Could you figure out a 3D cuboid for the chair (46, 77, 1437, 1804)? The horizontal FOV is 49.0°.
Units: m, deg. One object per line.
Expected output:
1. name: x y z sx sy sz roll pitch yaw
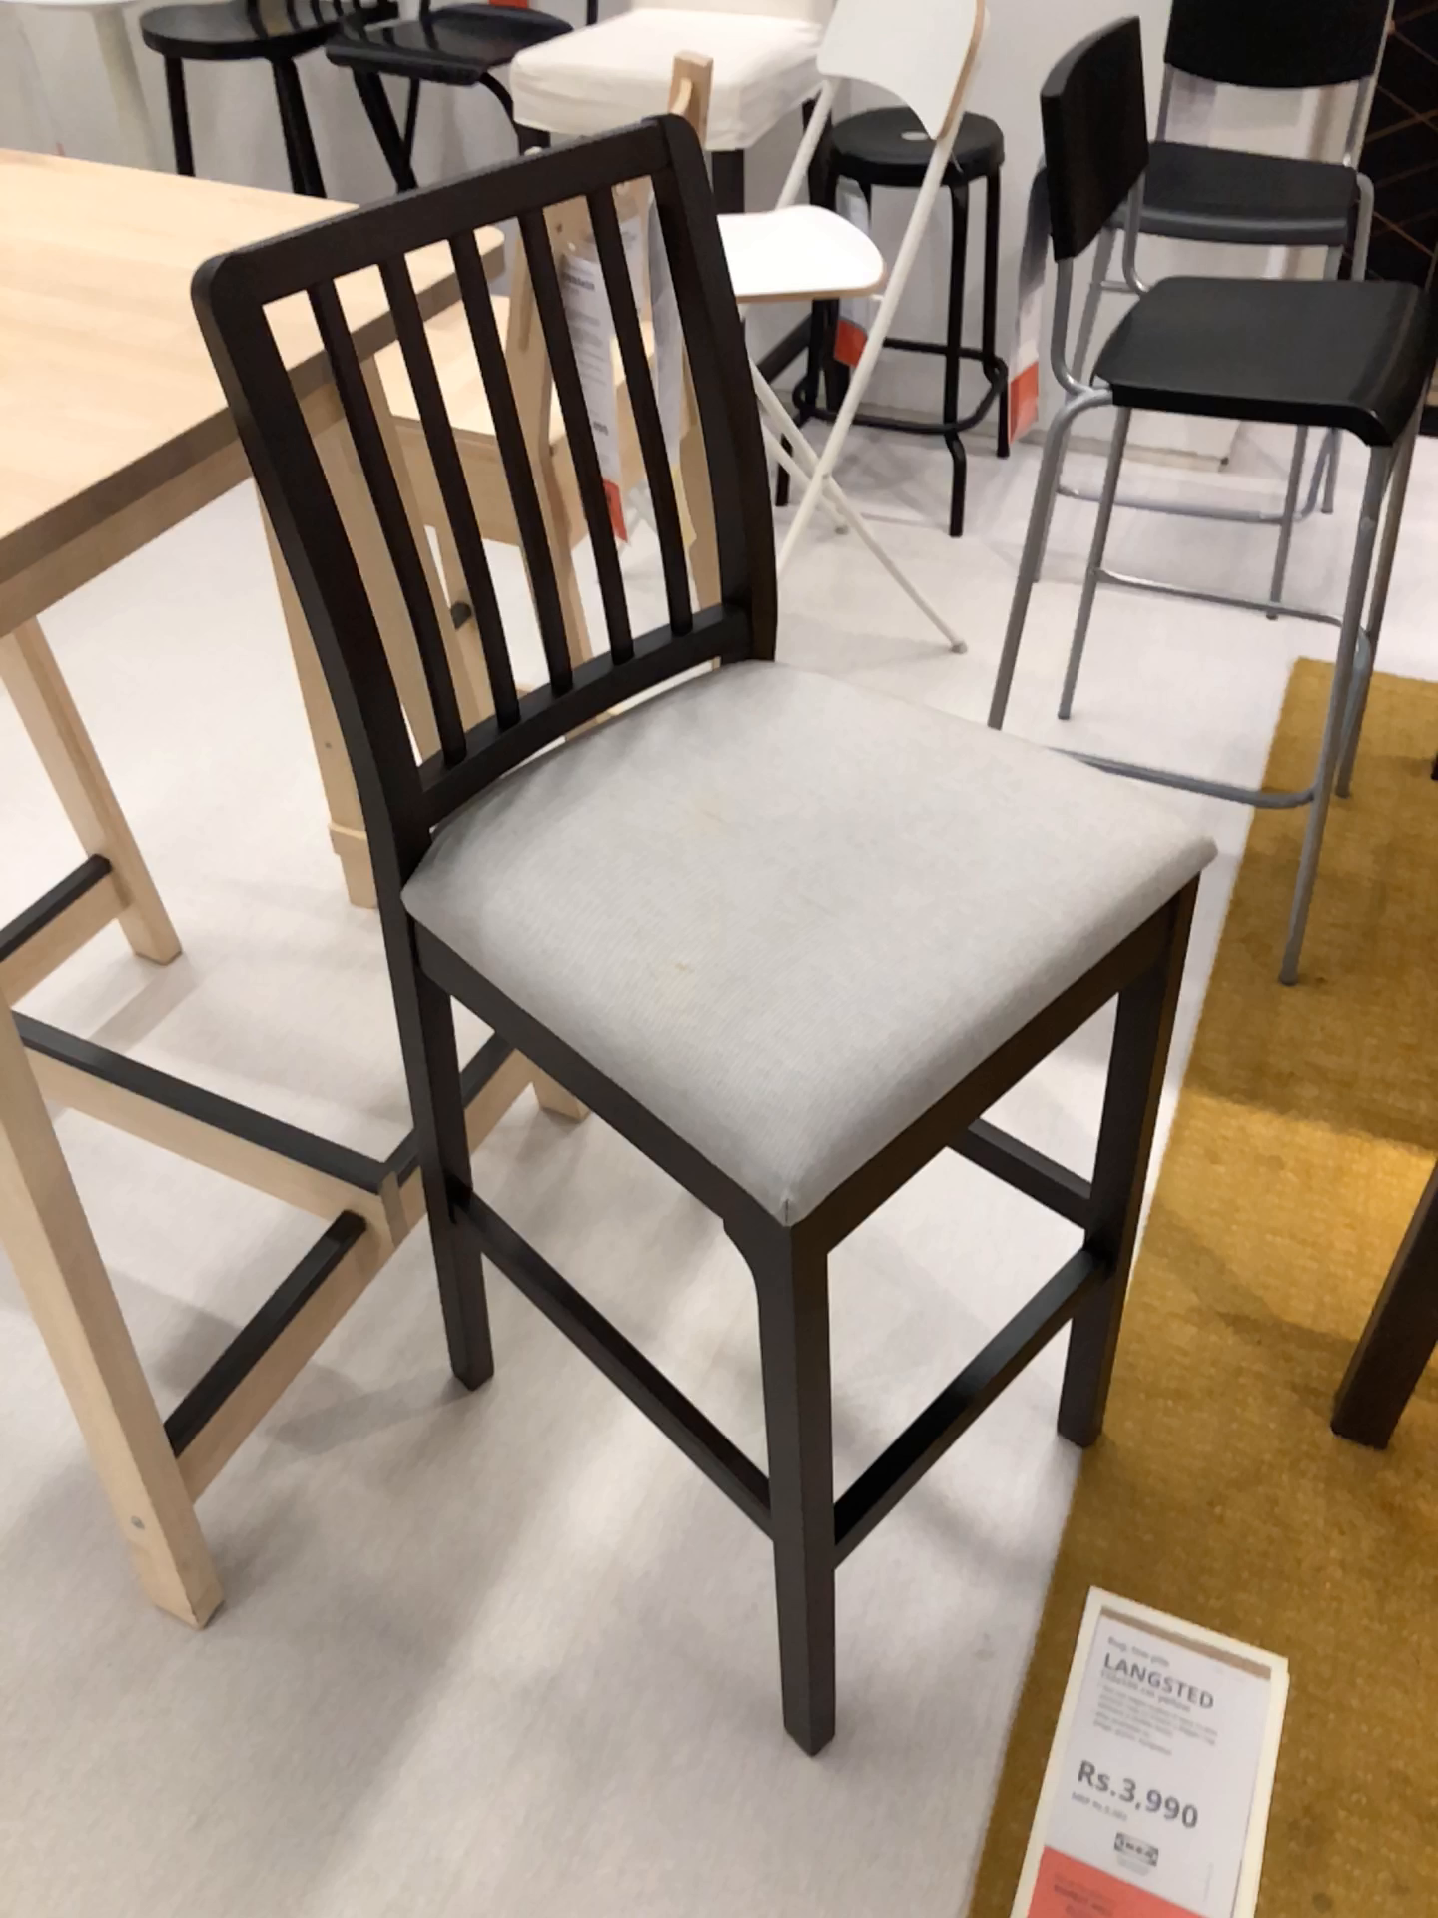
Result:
1. chair: 0.024 0.041 1.193 0.562 1.093 0.482 32 53 31
